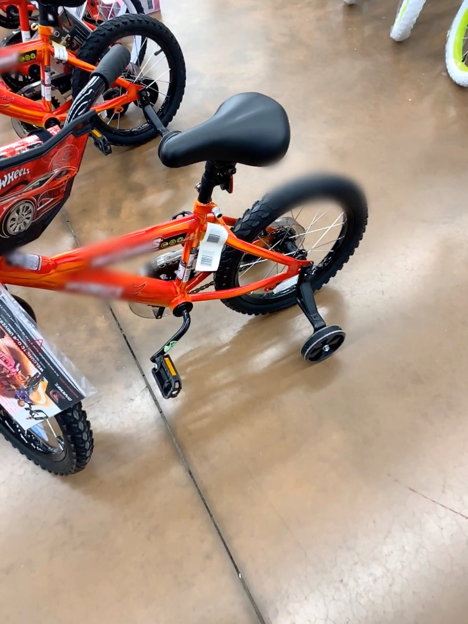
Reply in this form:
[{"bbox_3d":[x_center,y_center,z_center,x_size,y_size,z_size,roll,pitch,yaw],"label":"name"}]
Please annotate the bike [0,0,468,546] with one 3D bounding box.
[{"bbox_3d":[-0.070,-0.108,0.942,0.740,0.824,0.511,-38,60,-13],"label":"bike"}]
